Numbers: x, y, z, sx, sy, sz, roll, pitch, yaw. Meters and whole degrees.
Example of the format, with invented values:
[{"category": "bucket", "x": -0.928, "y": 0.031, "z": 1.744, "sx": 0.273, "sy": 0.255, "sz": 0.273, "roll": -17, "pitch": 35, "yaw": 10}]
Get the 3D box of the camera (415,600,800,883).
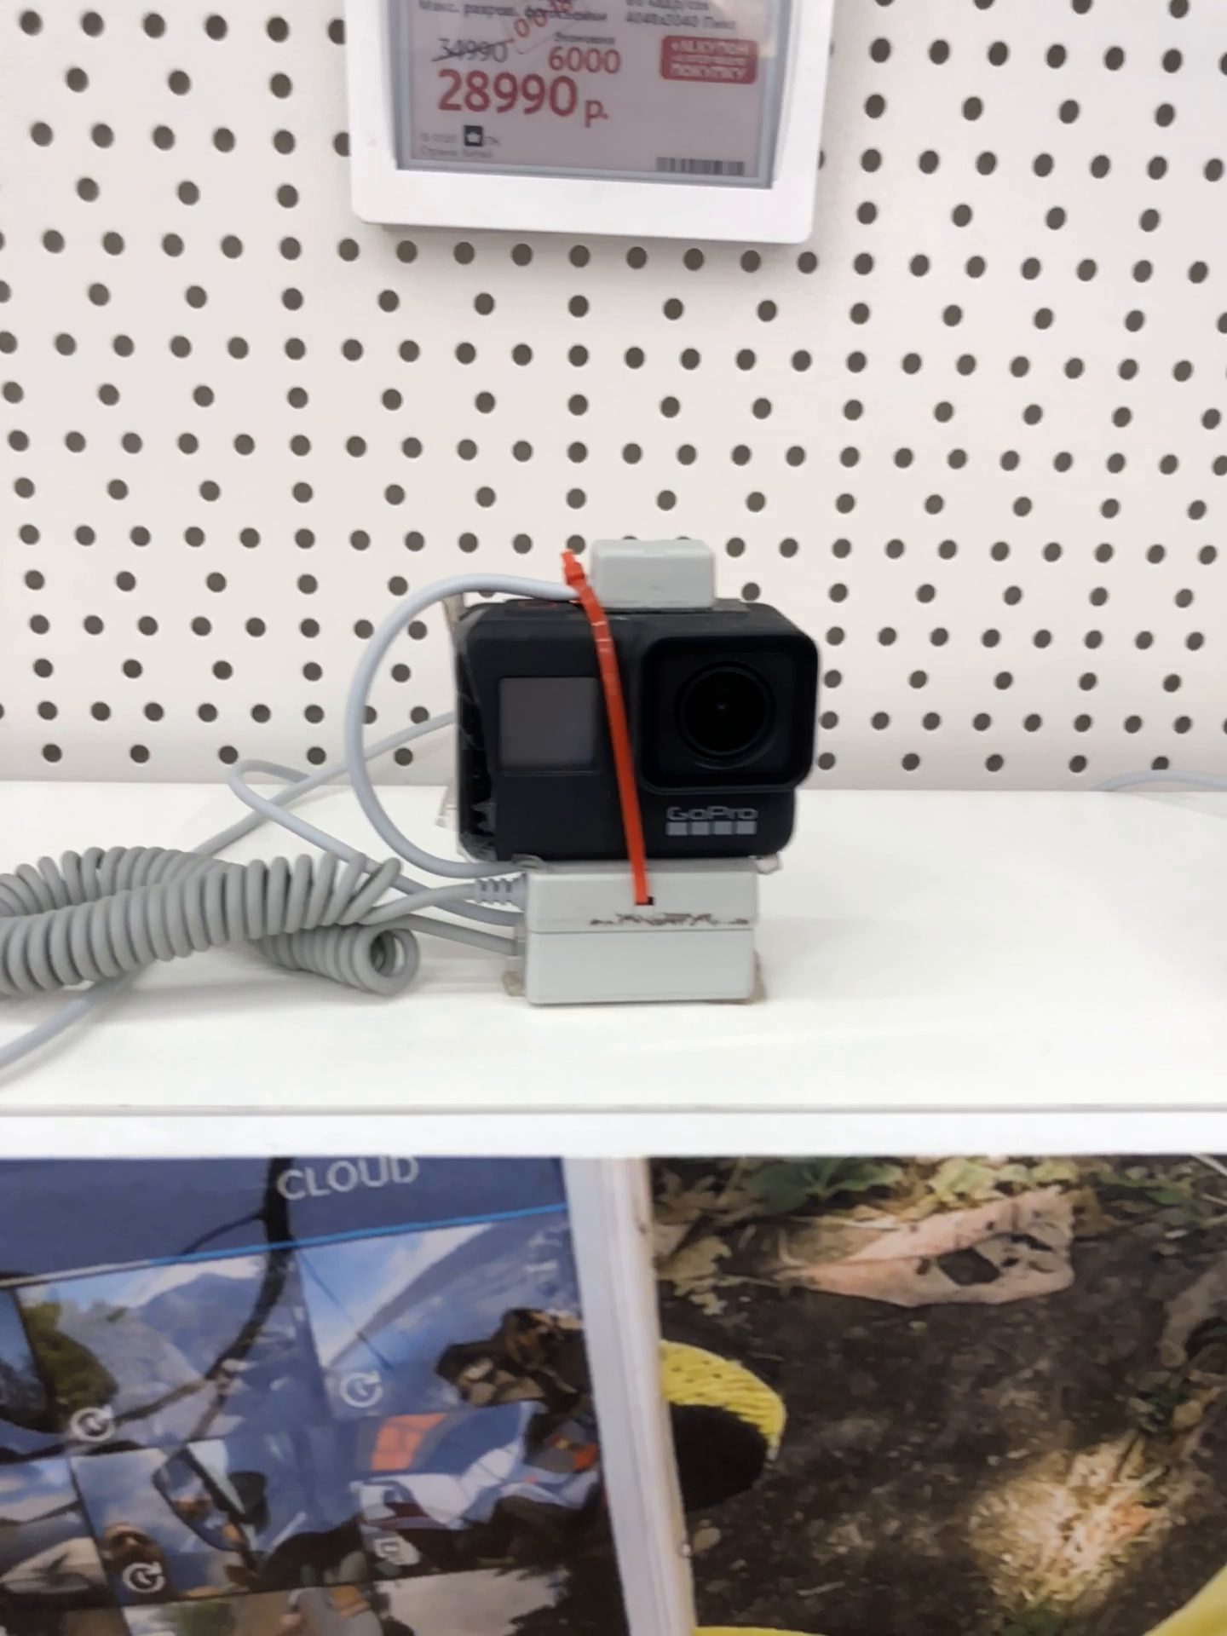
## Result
[{"category": "camera", "x": -0.003, "y": -0.015, "z": 0.245, "sx": 0.064, "sy": 0.043, "sz": 0.032, "roll": -1, "pitch": 19, "yaw": -8}]
